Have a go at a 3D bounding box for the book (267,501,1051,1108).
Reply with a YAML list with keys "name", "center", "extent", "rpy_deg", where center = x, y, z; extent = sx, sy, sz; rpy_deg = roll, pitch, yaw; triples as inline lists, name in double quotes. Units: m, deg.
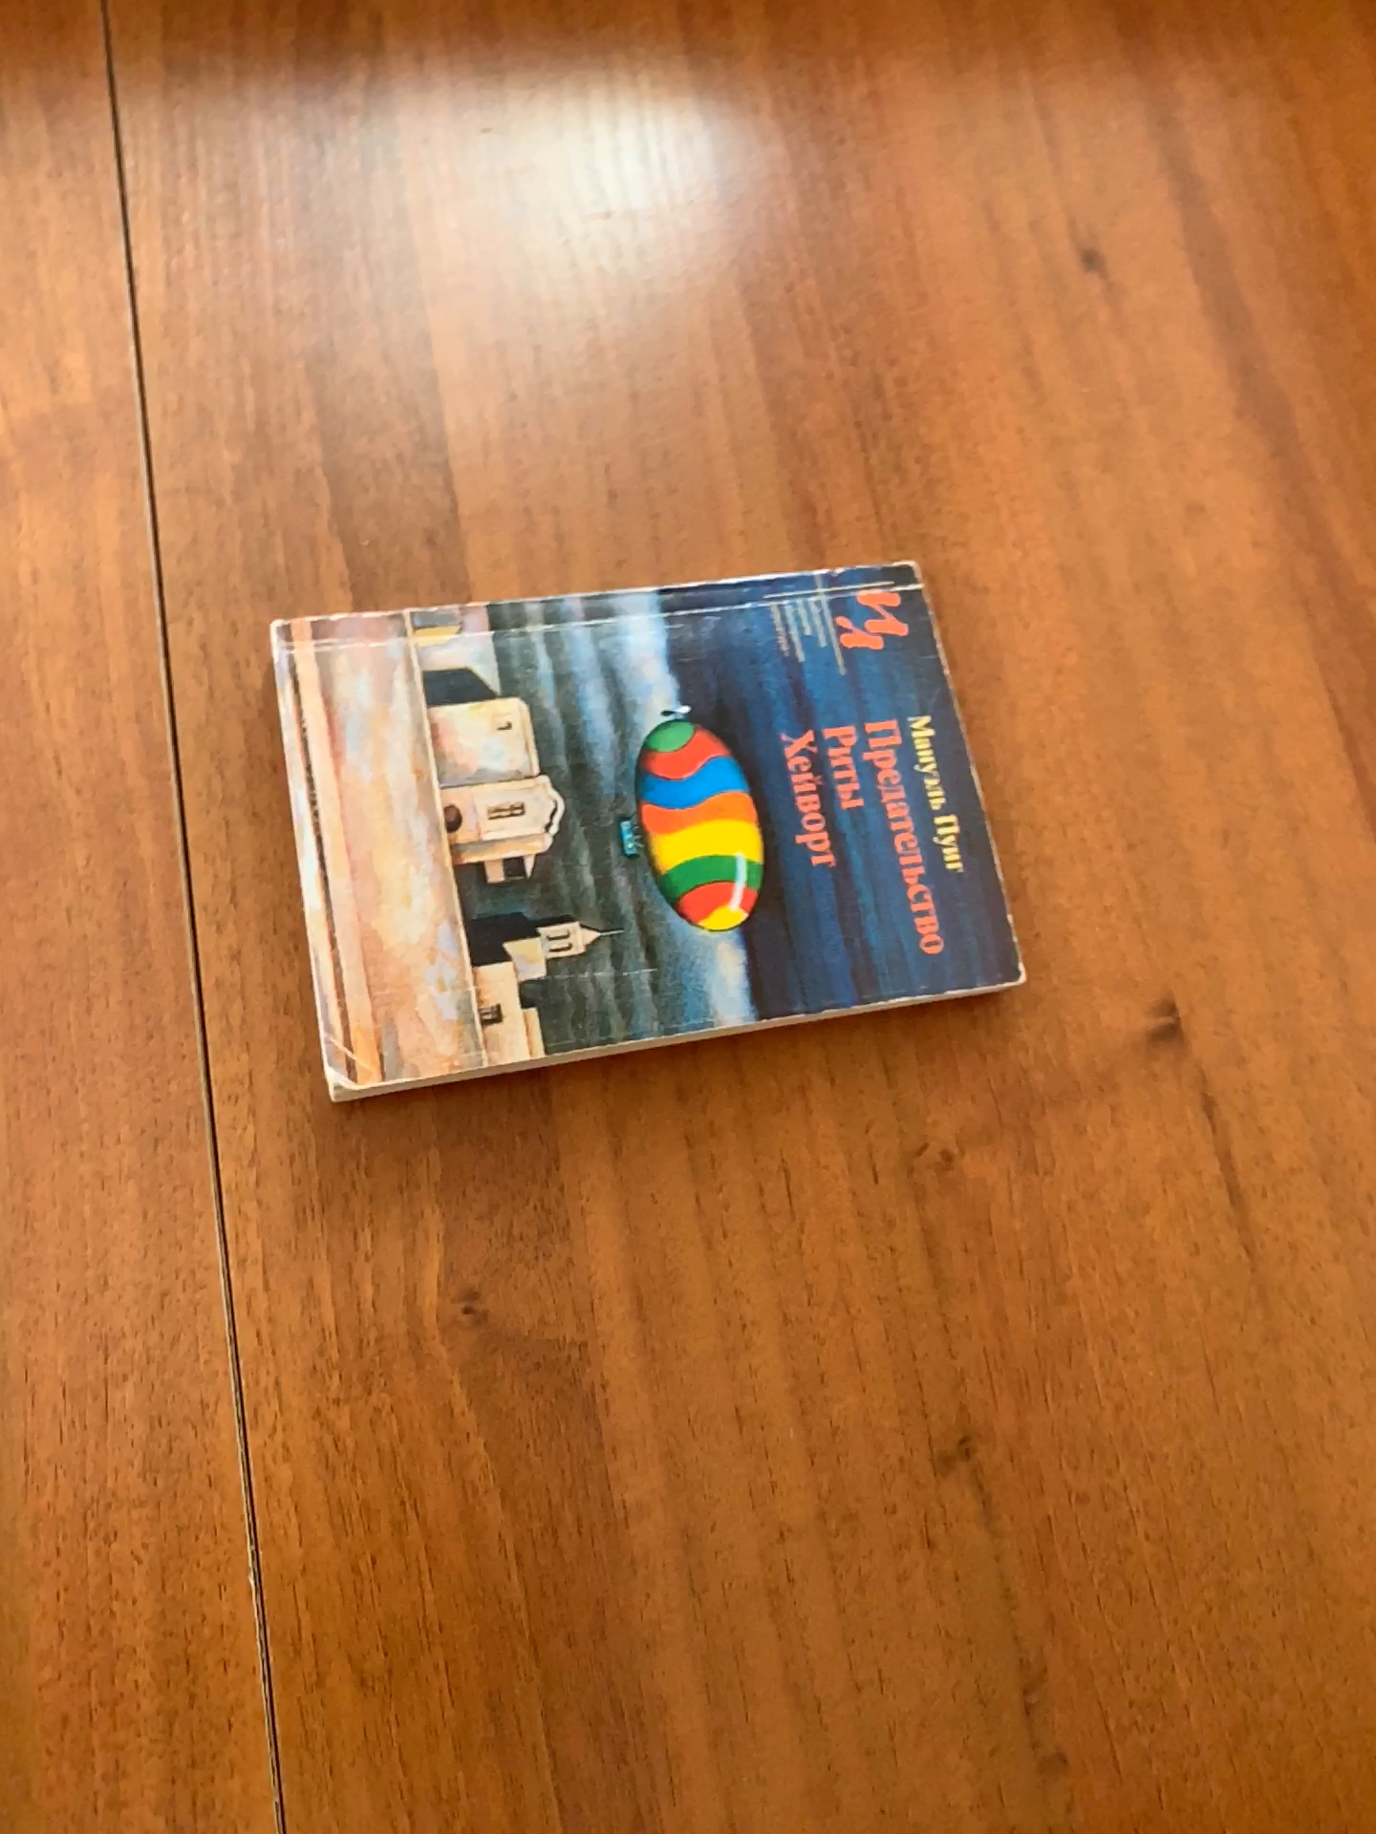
- name: "book"
  center: [-0.007, -0.031, 0.327]
  extent: [0.157, 0.016, 0.121]
  rpy_deg: [-9, 76, -12]
